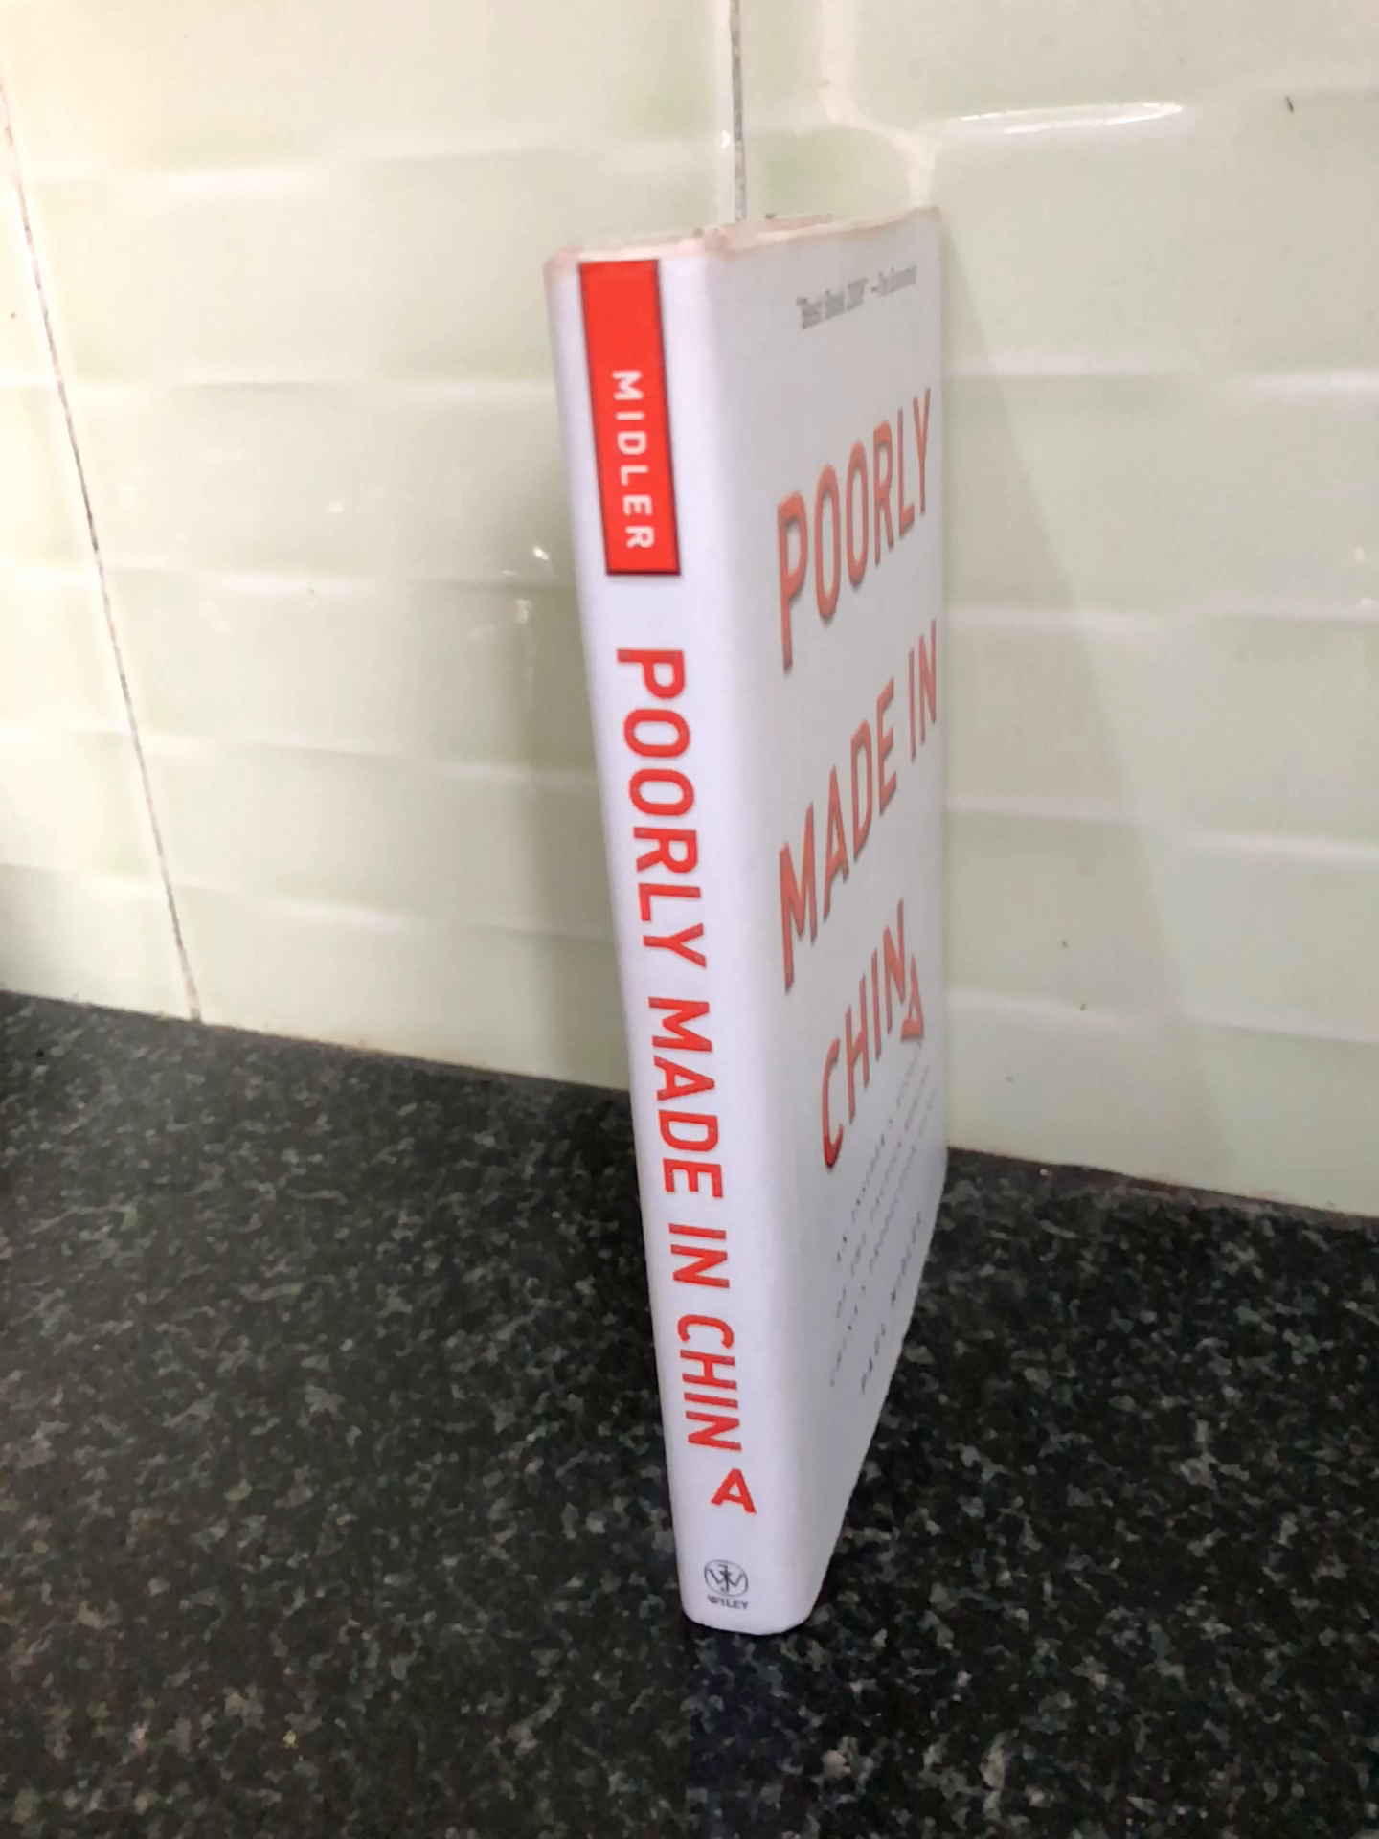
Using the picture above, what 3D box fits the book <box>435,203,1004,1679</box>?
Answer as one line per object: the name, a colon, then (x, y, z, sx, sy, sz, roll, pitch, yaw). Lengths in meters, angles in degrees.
book: (0.025, -0.015, 0.298, 0.040, 0.219, 0.191, 5, 26, 17)
